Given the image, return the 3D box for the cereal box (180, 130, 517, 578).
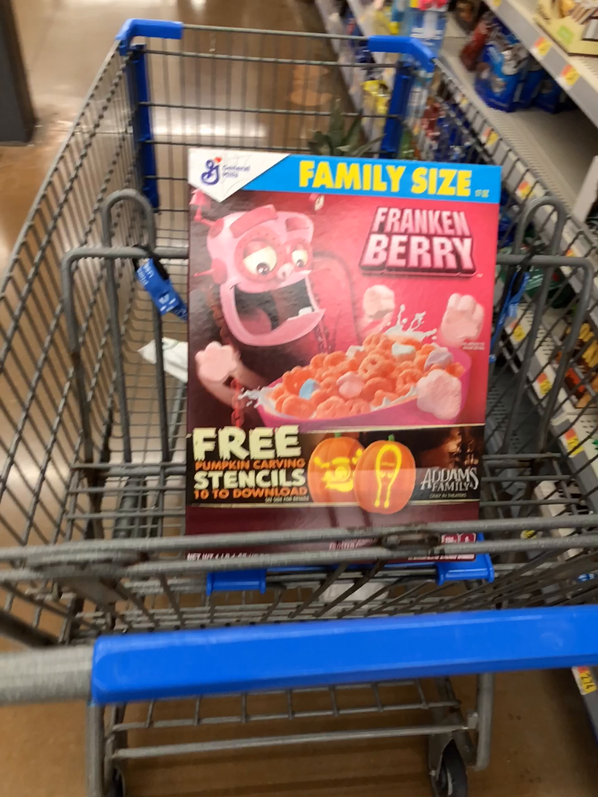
[{"bbox_3d":[0.031,-0.028,0.517,0.240,0.320,0.070,1,7,-6],"label":"cereal box"}]
